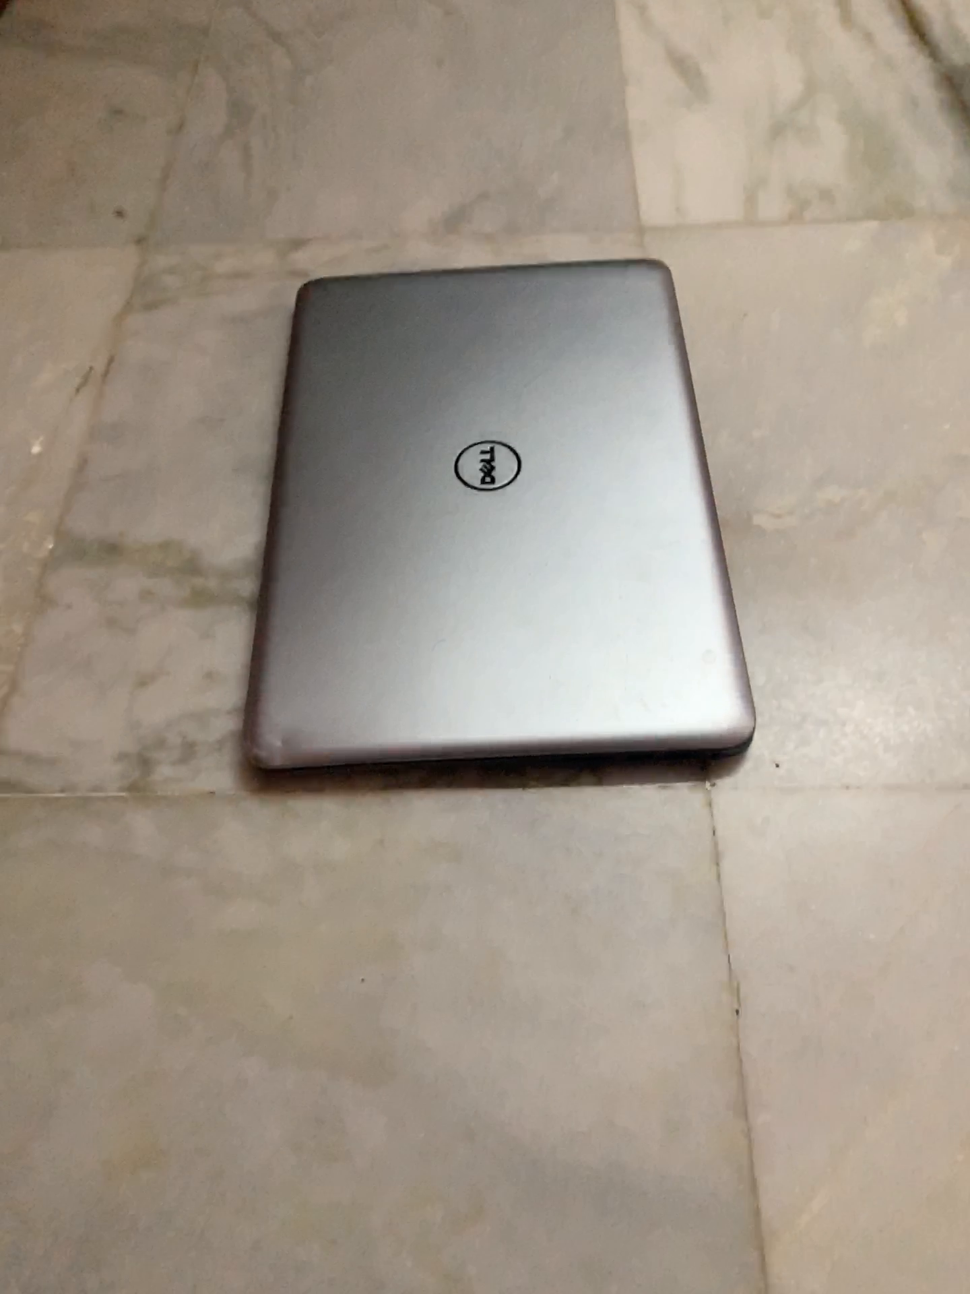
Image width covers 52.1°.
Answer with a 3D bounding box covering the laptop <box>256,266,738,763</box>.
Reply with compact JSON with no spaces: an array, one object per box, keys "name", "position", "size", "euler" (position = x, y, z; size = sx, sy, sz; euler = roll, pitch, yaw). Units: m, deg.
[{"name":"laptop","position":[0.002,-0.099,0.573],"size":[0.234,0.001,0.352],"euler":[-2,58,2]}]
